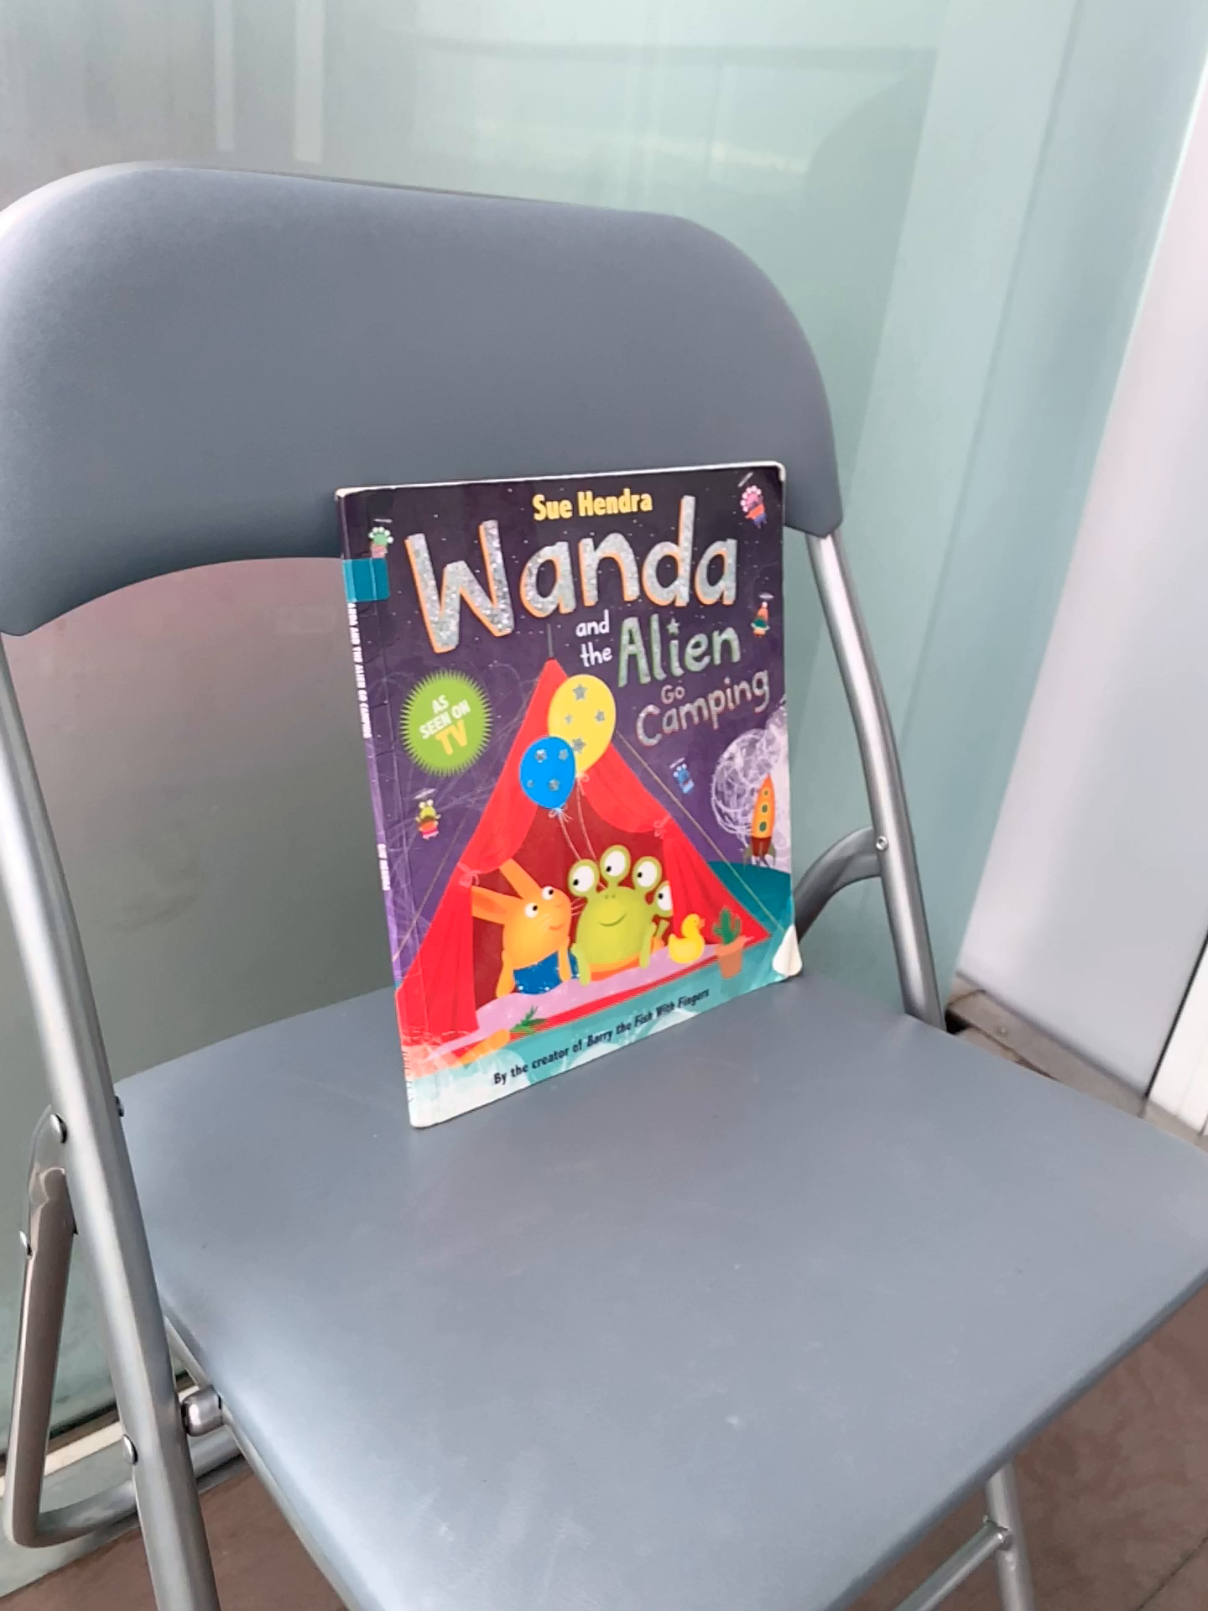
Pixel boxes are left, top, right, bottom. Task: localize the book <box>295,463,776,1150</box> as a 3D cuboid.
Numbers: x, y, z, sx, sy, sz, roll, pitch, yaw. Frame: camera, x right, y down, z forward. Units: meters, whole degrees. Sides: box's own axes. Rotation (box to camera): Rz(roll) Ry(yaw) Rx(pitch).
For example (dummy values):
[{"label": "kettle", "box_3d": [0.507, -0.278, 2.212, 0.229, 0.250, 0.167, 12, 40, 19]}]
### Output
[{"label": "book", "box_3d": [-0.014, -0.012, 0.564, 0.231, 0.268, 0.030, -14, 20, -37]}]
